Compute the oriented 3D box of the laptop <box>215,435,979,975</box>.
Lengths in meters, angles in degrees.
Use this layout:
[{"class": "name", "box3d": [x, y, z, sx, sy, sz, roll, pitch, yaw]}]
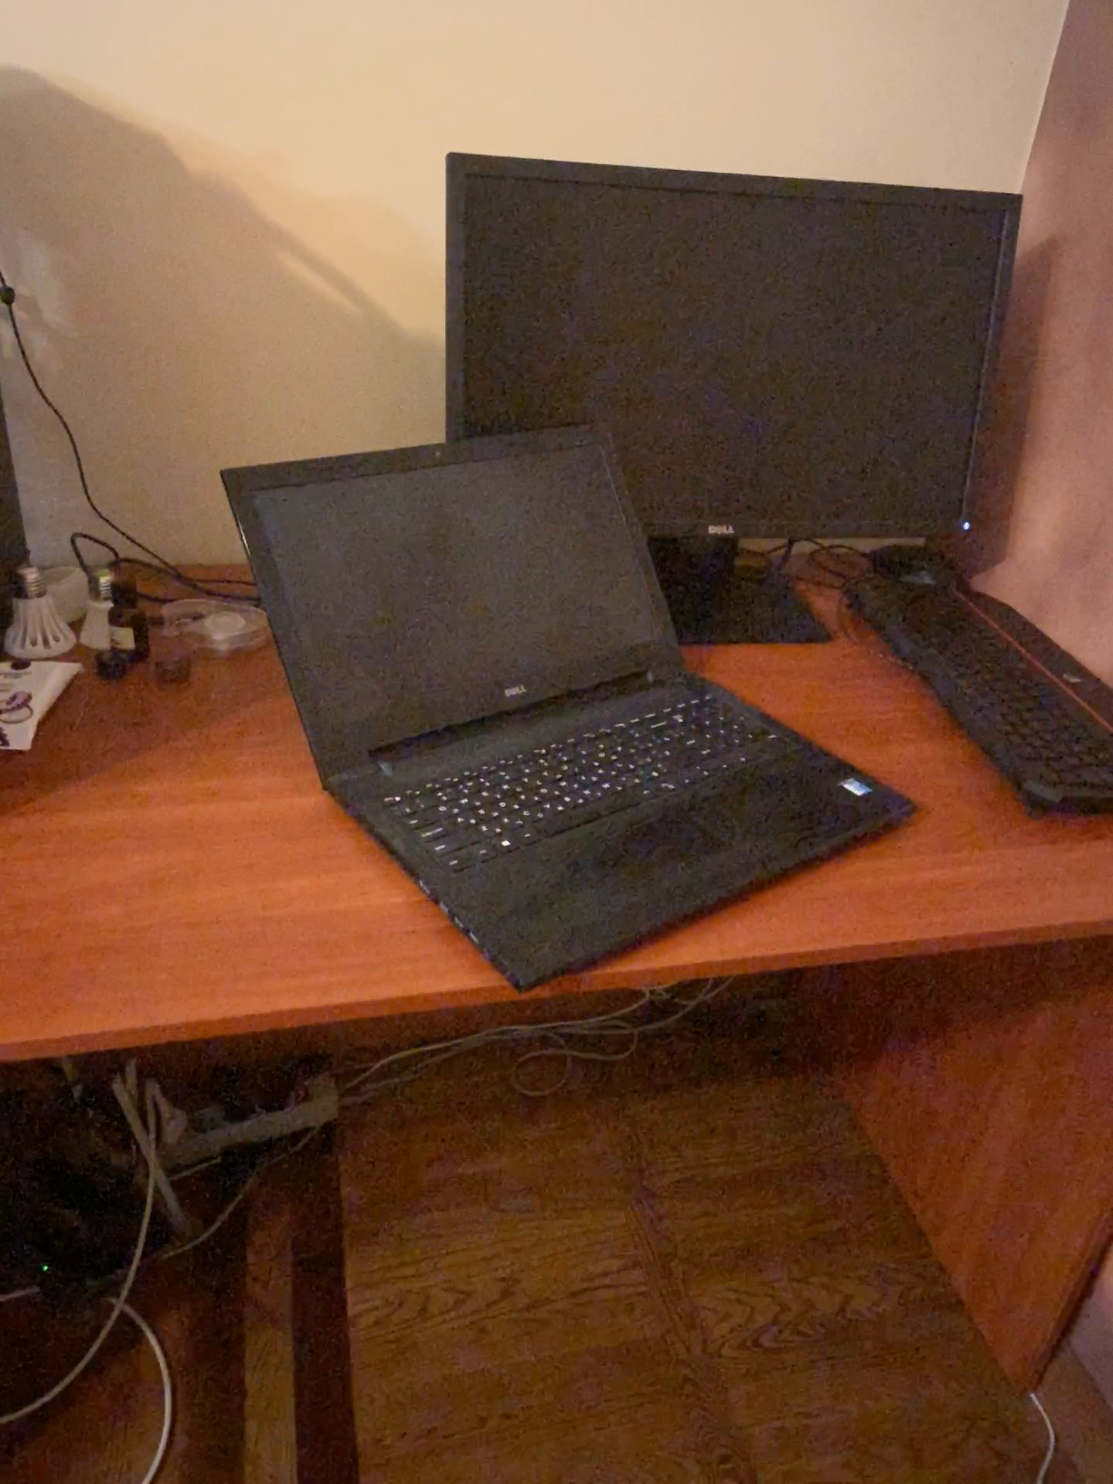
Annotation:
[{"class": "laptop", "box3d": [0.008, -0.072, 0.818, 0.356, 0.181, 0.393, -16, 35, -33]}]
